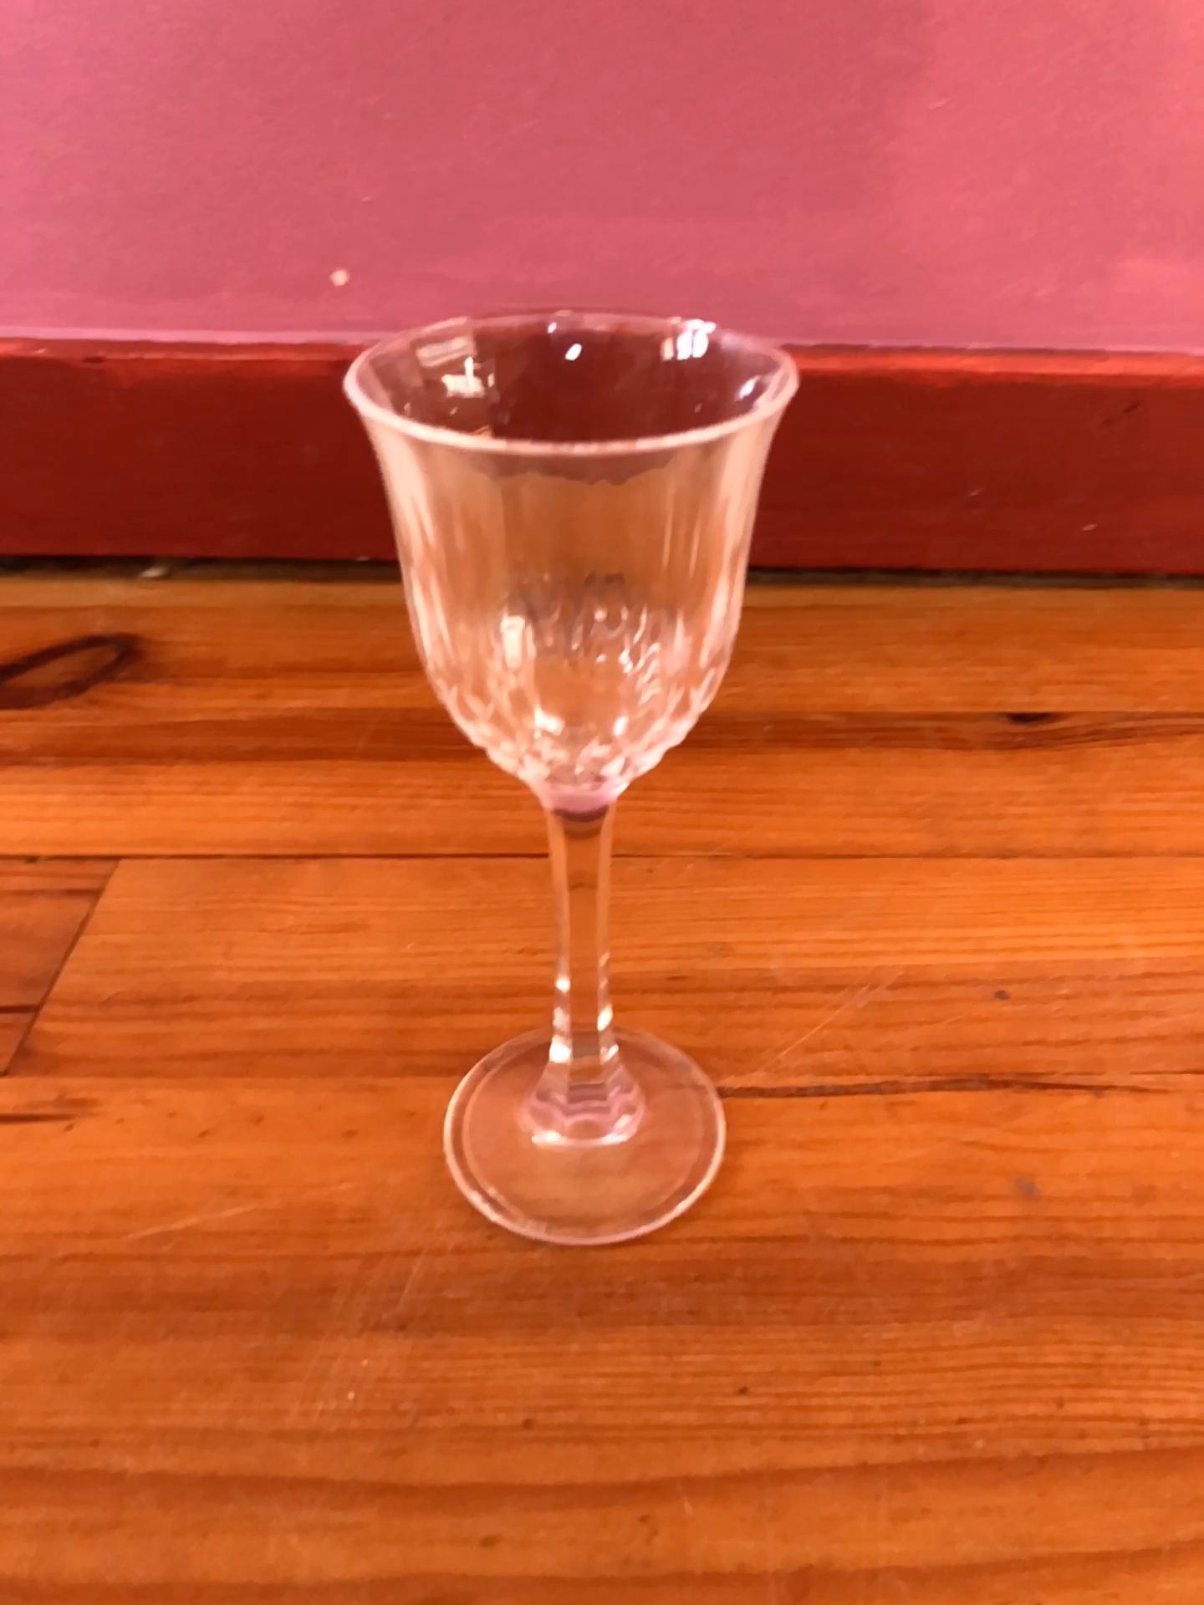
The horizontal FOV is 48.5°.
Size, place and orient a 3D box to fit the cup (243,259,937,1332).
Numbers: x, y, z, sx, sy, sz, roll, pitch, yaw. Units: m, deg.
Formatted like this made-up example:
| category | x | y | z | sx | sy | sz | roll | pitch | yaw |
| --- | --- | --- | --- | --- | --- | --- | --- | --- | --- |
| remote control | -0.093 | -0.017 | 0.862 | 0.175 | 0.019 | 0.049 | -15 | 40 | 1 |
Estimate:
| category | x | y | z | sx | sy | sz | roll | pitch | yaw |
| --- | --- | --- | --- | --- | --- | --- | --- | --- | --- |
| cup | -0.004 | 0.000 | 0.194 | 0.061 | 0.133 | 0.058 | 1 | 34 | -1 |
